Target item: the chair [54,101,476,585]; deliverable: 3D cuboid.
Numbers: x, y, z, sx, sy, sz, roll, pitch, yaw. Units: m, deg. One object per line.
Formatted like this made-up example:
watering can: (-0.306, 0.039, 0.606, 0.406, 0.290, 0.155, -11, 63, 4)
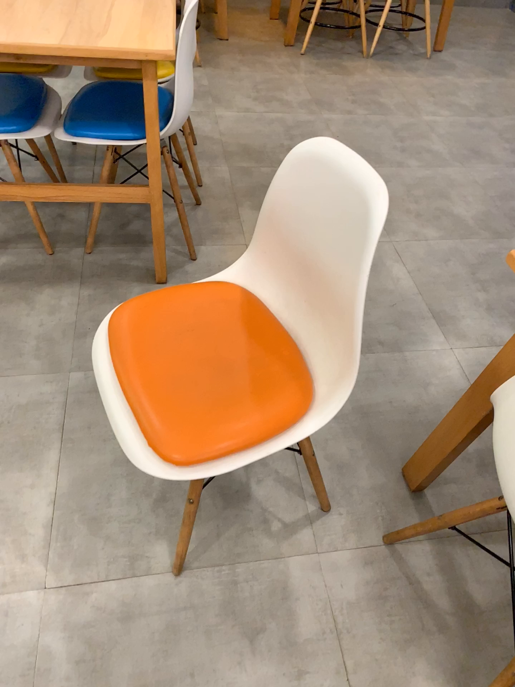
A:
chair: (-0.045, 0.018, 0.988, 0.451, 0.724, 0.443, -14, 49, -20)
